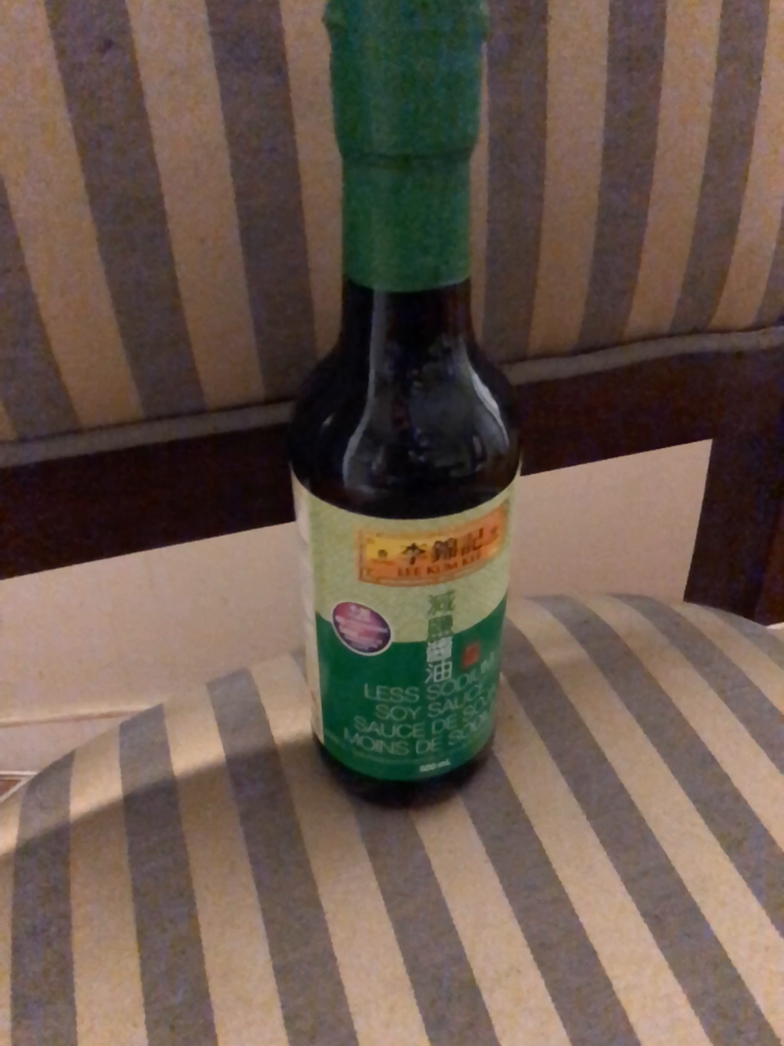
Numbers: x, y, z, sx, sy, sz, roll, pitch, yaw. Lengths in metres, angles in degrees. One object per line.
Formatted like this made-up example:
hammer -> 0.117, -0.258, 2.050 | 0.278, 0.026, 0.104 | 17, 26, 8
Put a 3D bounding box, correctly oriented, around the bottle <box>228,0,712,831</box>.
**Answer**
bottle -> 0.011, -0.020, 0.246 | 0.080, 0.228, 0.070 | -10, 38, -13
